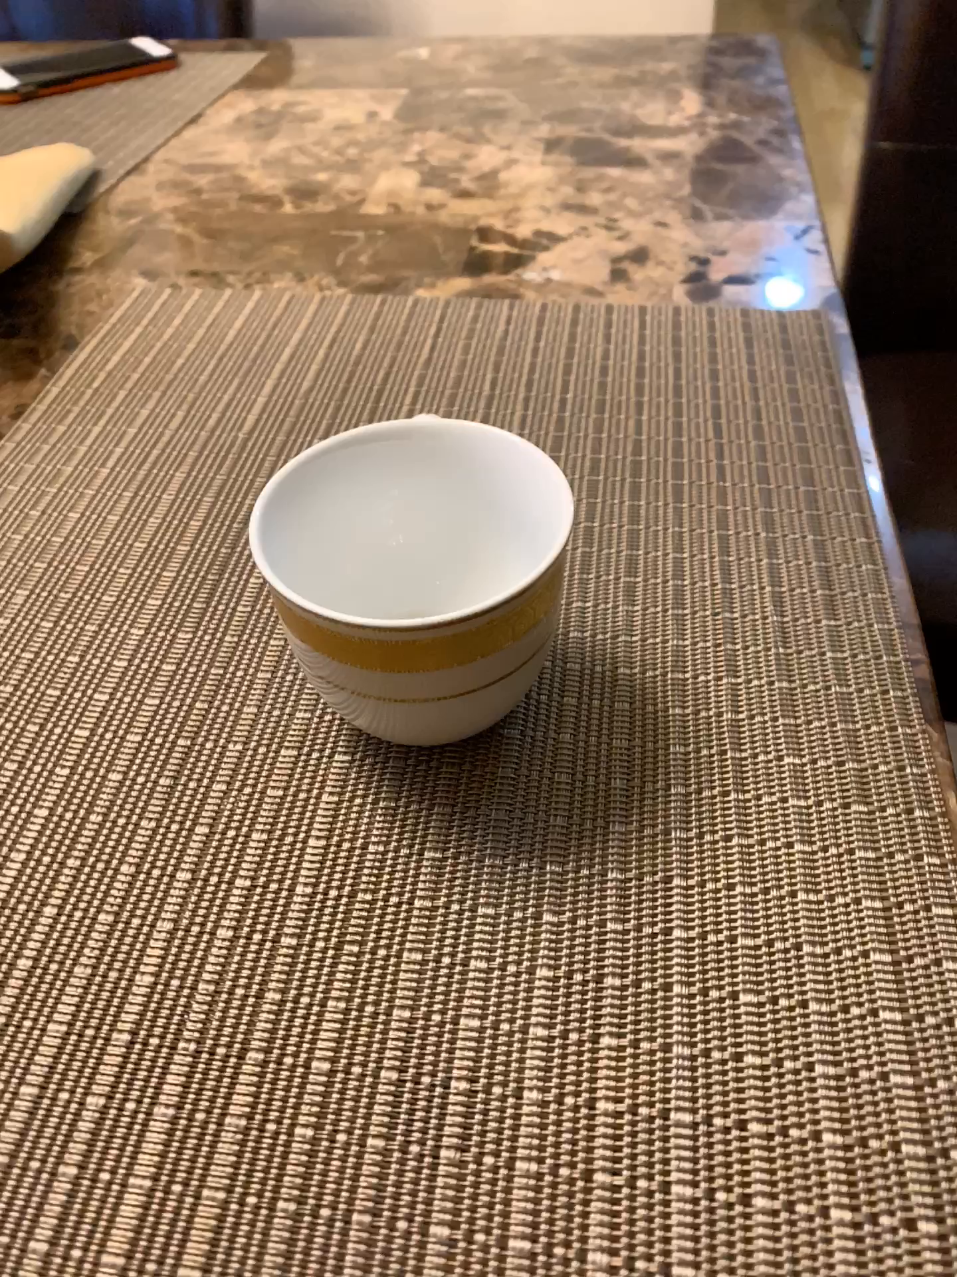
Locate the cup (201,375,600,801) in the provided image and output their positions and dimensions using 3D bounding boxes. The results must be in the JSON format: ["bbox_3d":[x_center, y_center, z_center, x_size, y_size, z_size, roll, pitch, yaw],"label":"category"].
[{"bbox_3d":[-0.014,-0.017,0.260,0.082,0.055,0.104,-1,44,3],"label":"cup"}]
